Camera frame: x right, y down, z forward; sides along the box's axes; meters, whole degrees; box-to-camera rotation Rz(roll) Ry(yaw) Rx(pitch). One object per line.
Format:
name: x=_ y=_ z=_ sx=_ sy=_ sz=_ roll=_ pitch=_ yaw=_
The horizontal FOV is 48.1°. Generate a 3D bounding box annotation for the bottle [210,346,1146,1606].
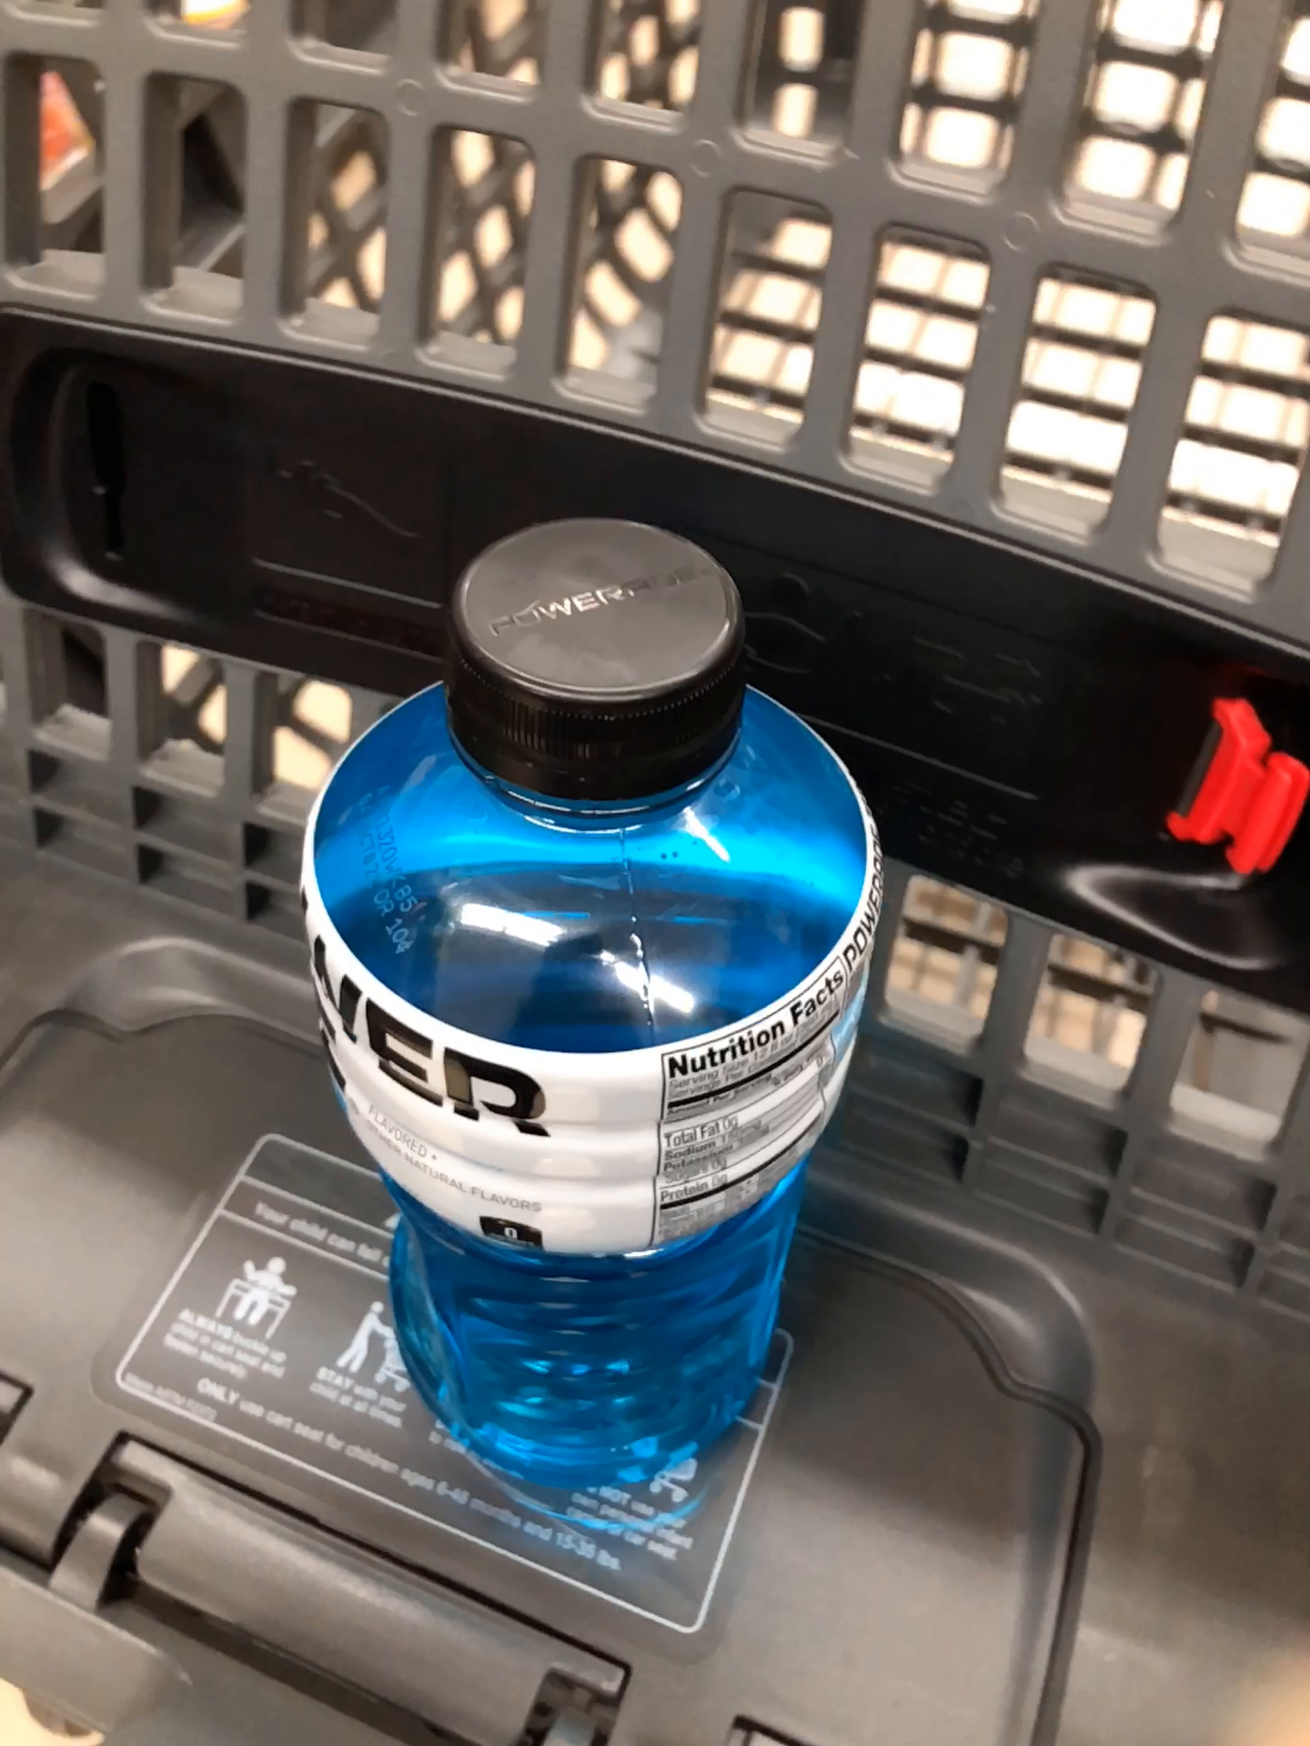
bottle: x=-0.009 y=0.034 z=0.273 sx=0.100 sy=0.220 sz=0.100 roll=2 pitch=46 yaw=-2
